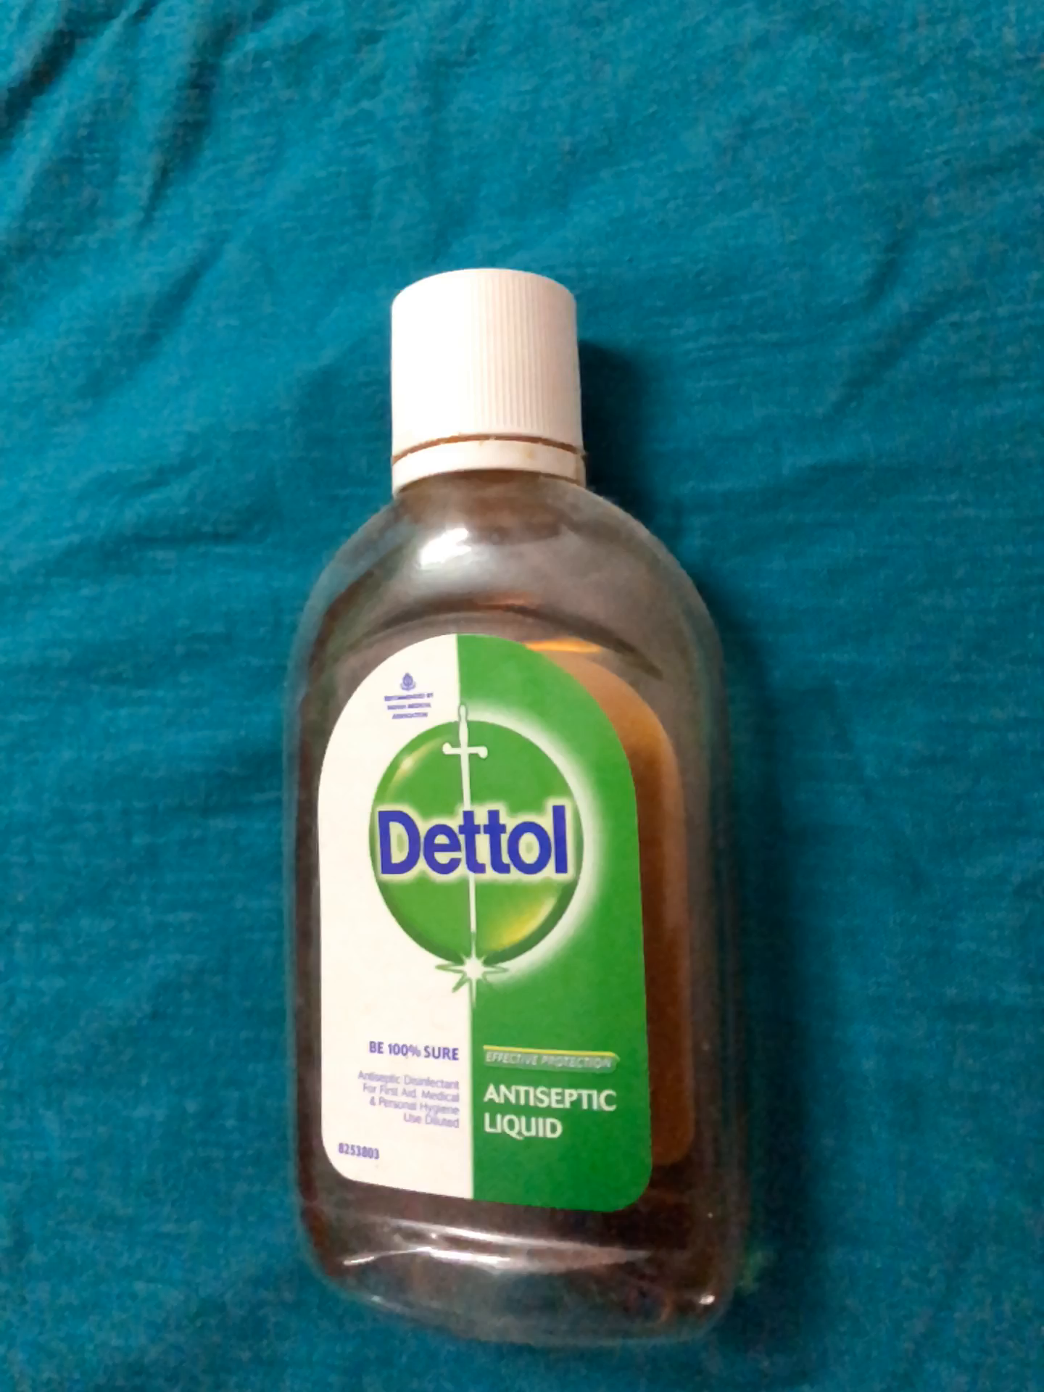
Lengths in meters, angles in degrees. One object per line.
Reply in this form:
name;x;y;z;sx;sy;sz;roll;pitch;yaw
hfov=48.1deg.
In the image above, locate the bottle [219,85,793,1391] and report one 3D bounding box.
bottle;-0.002;0.005;0.191;0.080;0.040;0.180;-3;83;19
